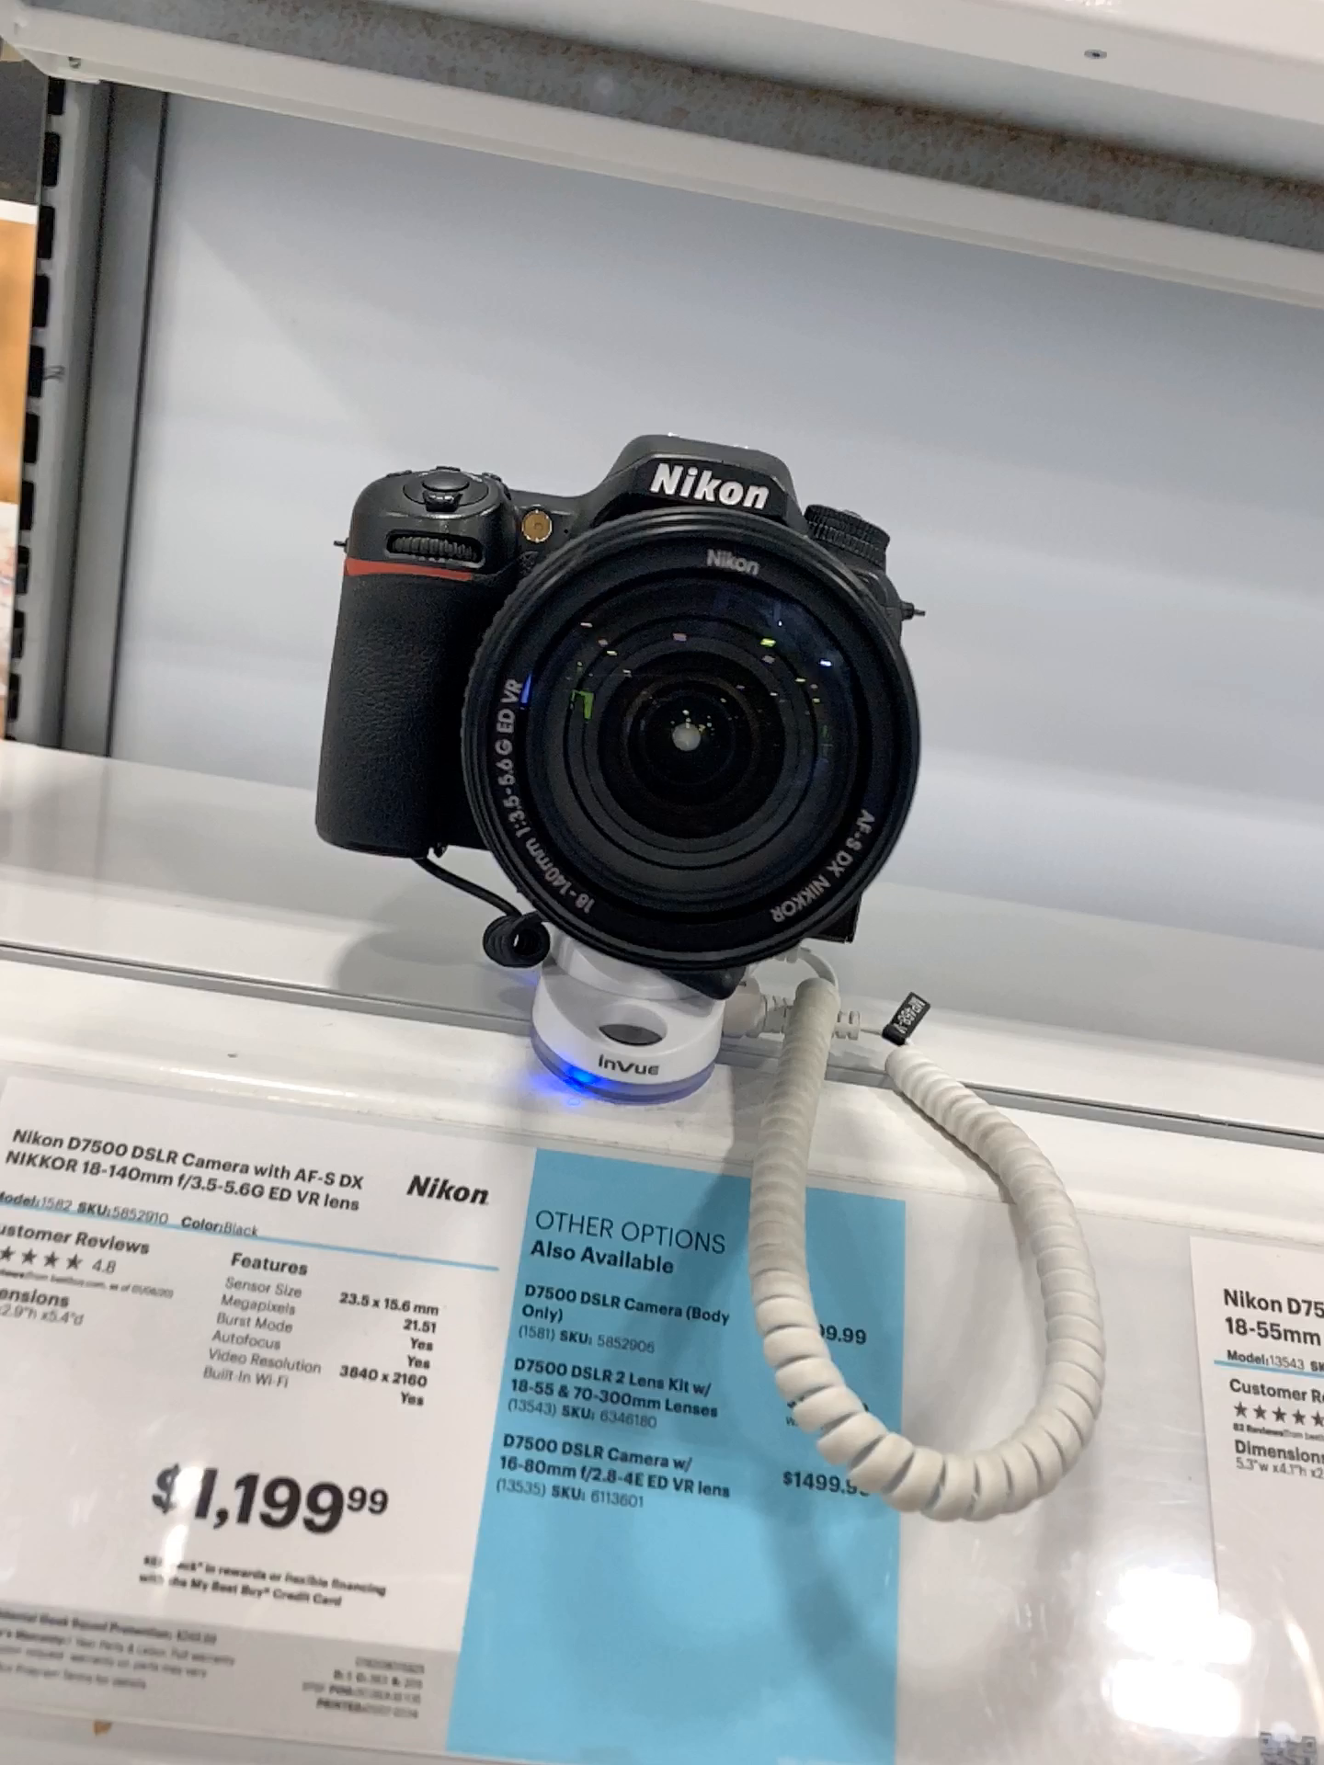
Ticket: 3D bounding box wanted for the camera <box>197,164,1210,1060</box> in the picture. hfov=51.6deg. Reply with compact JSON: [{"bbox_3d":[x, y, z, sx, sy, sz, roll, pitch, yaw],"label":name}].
[{"bbox_3d":[-0.002,-0.047,0.279,0.130,0.107,0.172,8,7,-6],"label":"camera"}]
